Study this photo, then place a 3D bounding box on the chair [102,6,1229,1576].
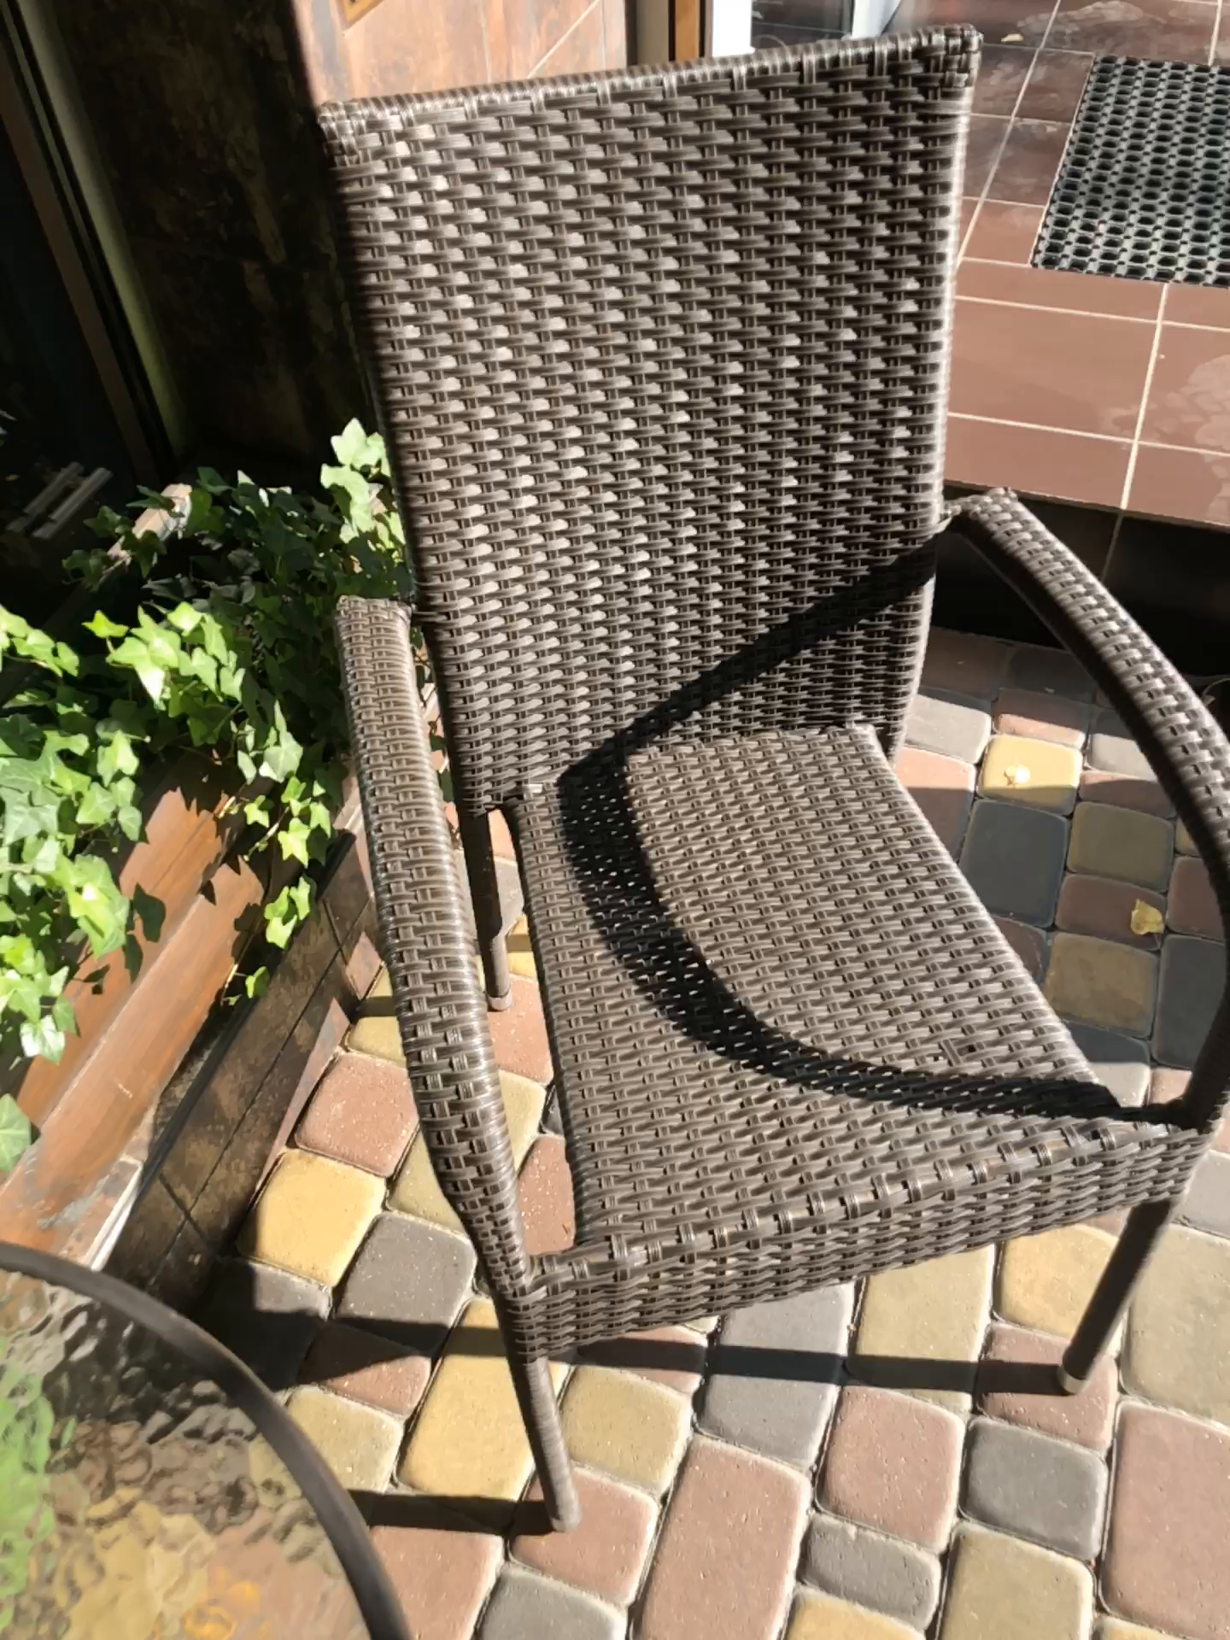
[{"bbox_3d":[0.067,0.025,1.056,0.610,0.907,0.722,-11,50,-6],"label":"chair"}]
